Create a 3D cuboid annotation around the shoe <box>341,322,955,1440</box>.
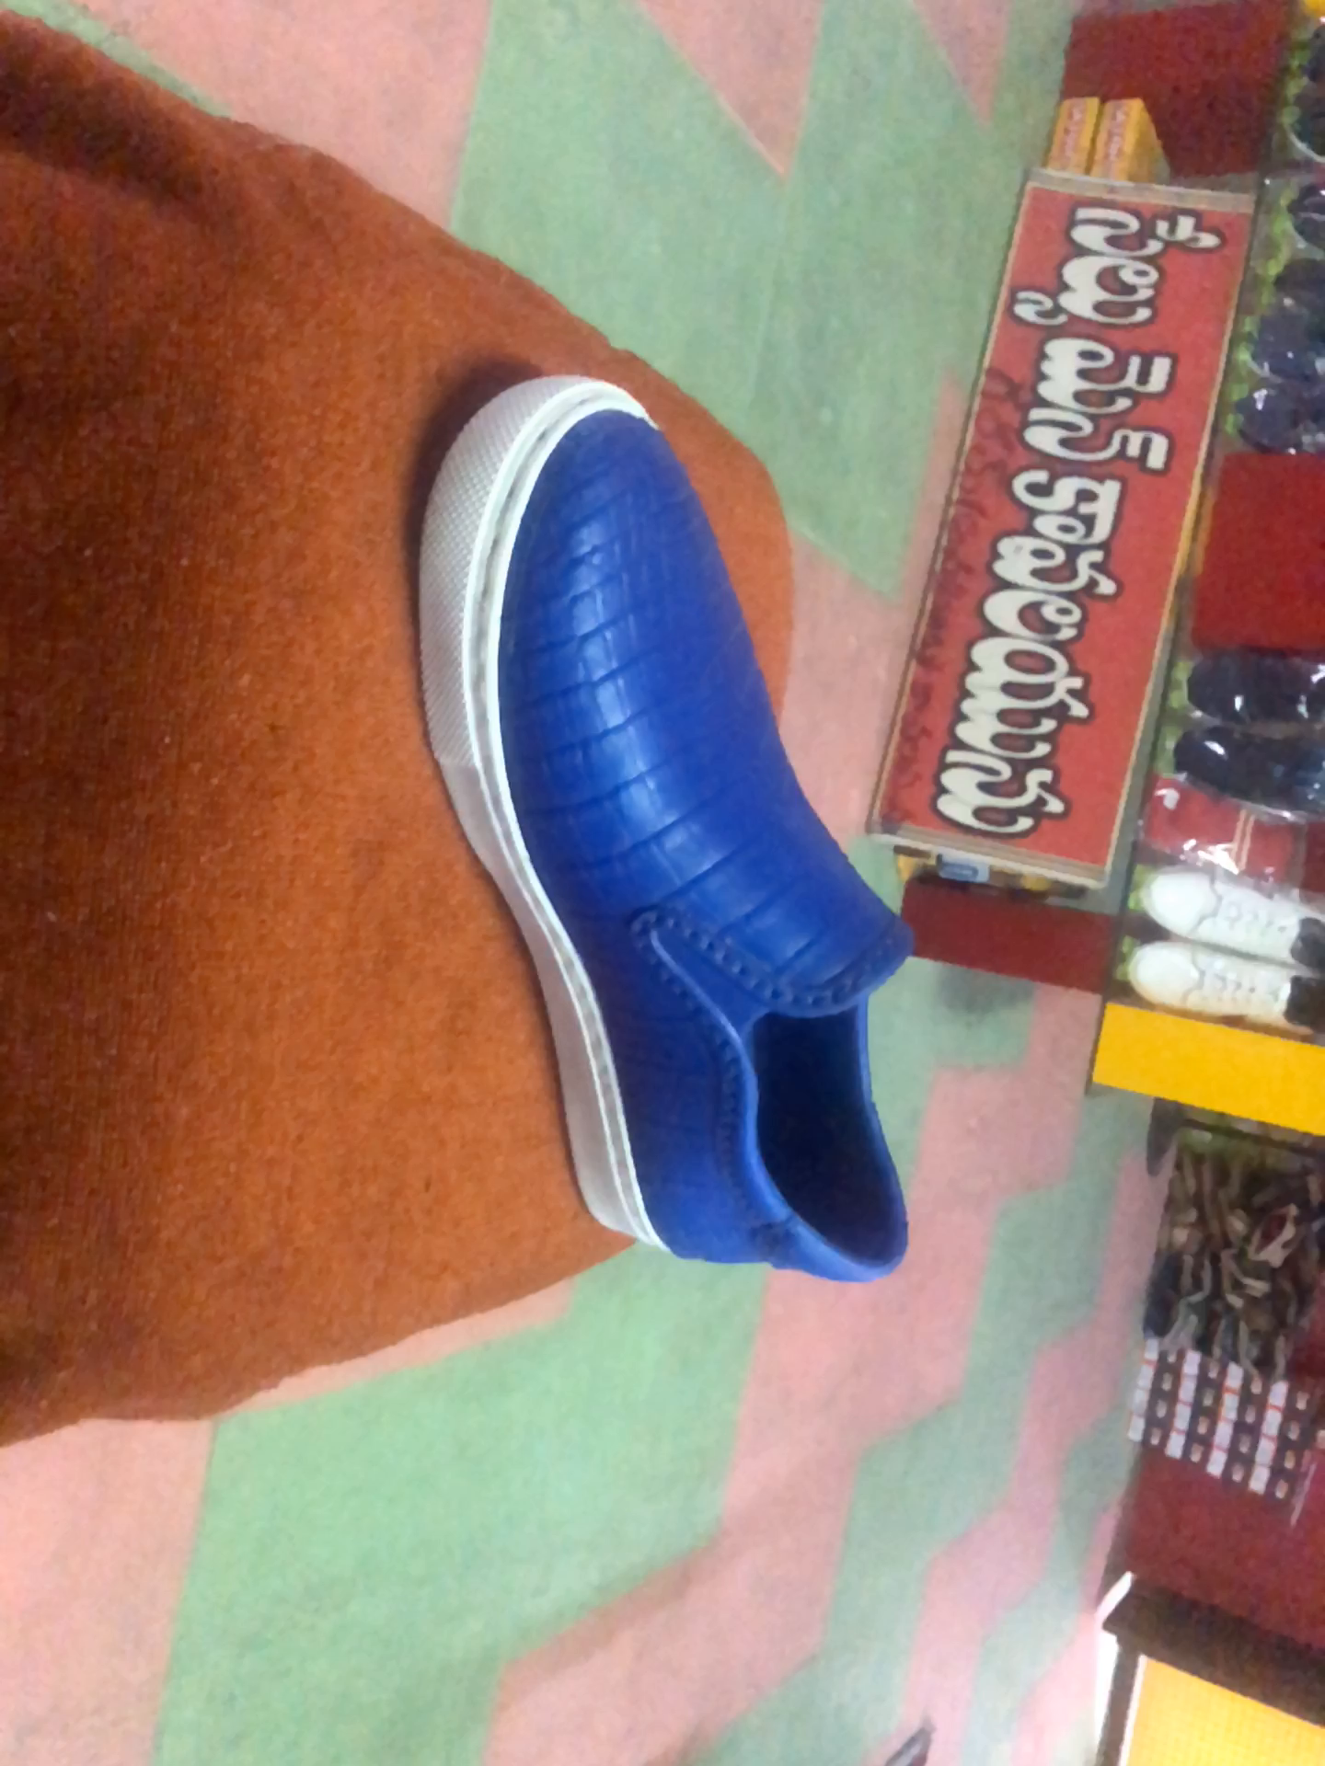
[{"bbox_3d":[0.016,0.010,0.423,0.111,0.079,0.301,-46,136,-42],"label":"shoe"}]
